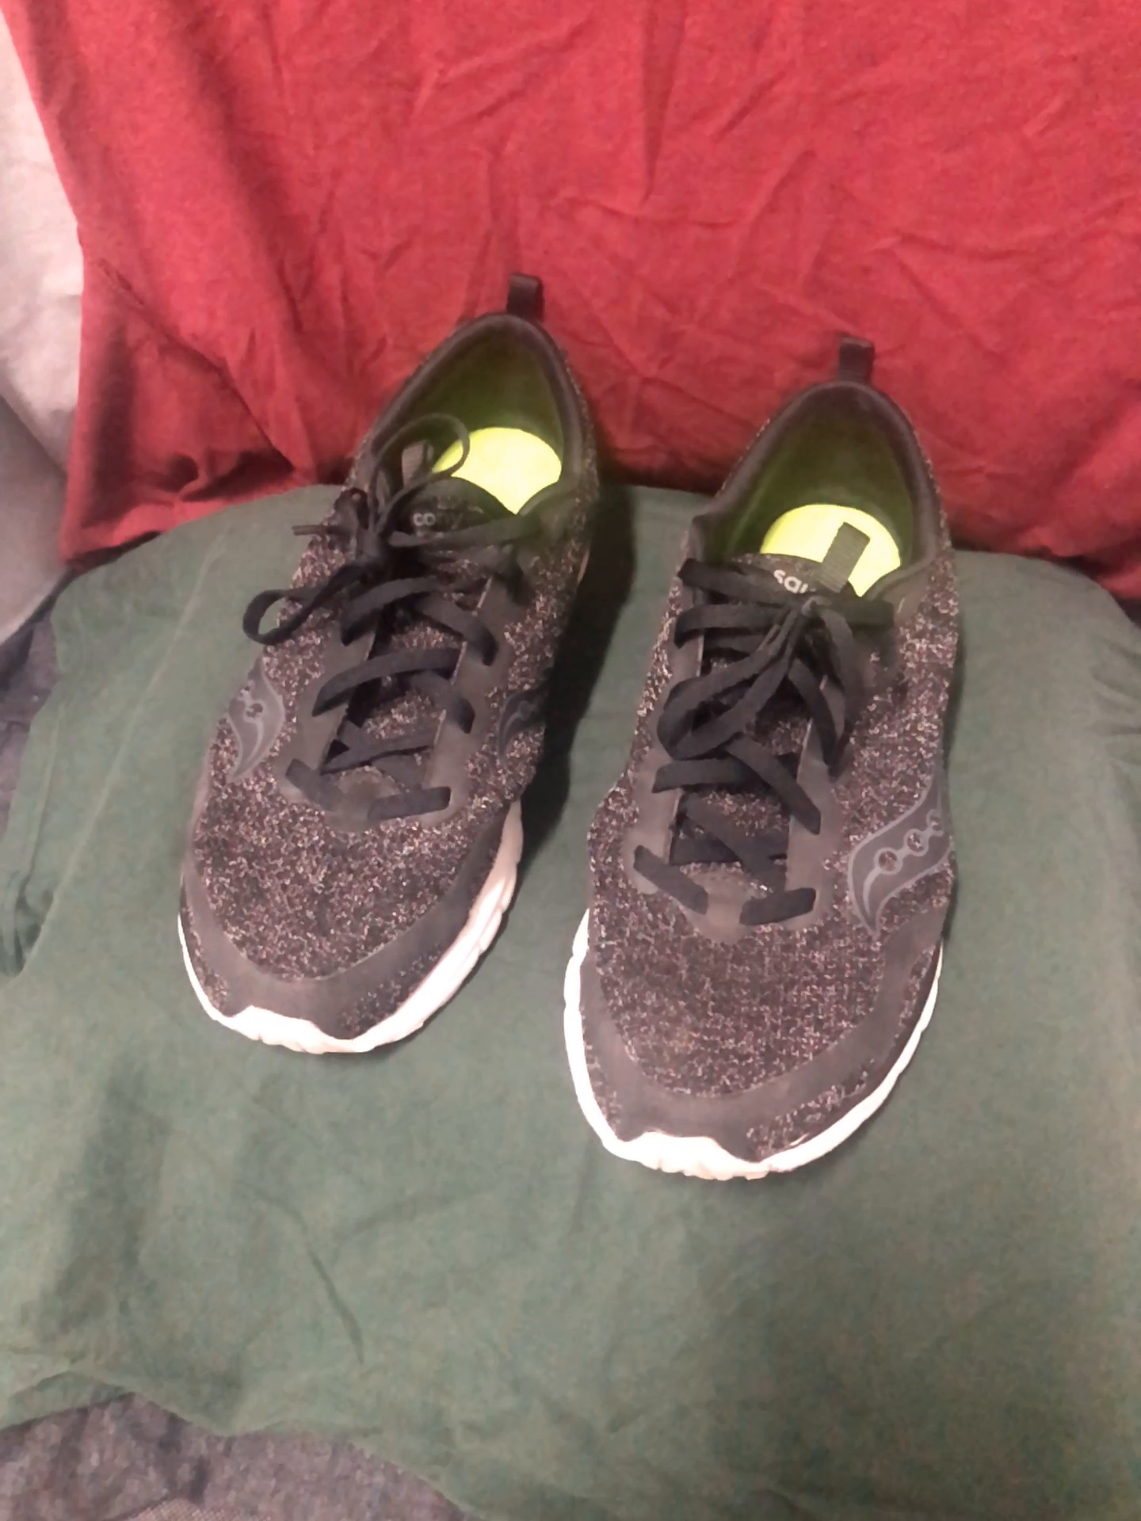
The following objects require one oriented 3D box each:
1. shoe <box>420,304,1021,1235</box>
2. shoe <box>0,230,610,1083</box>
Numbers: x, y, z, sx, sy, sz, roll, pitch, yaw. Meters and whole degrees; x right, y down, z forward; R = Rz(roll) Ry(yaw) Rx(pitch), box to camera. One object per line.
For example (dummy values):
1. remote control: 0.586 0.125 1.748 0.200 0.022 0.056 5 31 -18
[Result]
1. shoe: 0.059 -0.013 0.387 0.120 0.099 0.262 10 56 11
2. shoe: -0.074 -0.051 0.420 0.120 0.099 0.272 9 55 10
